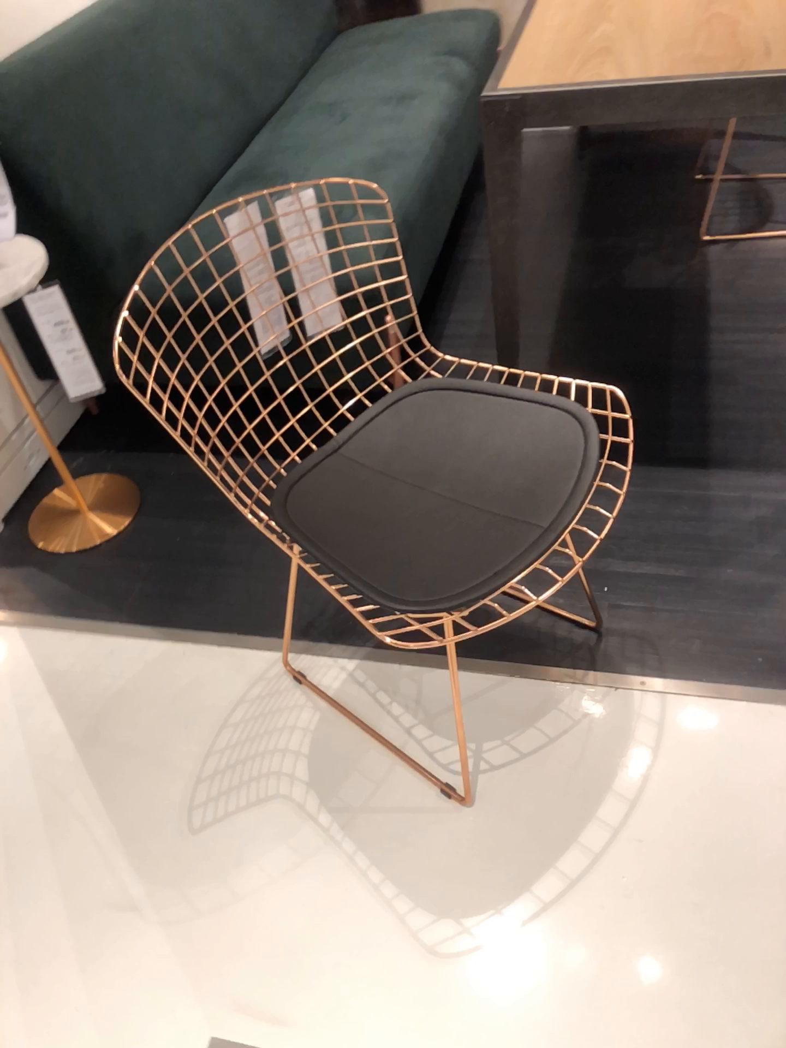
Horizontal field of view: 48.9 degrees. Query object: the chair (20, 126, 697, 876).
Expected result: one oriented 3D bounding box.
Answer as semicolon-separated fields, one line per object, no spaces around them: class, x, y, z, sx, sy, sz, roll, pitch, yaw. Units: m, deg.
chair;0.011;-0.040;1.197;0.542;0.745;0.522;23;53;31
